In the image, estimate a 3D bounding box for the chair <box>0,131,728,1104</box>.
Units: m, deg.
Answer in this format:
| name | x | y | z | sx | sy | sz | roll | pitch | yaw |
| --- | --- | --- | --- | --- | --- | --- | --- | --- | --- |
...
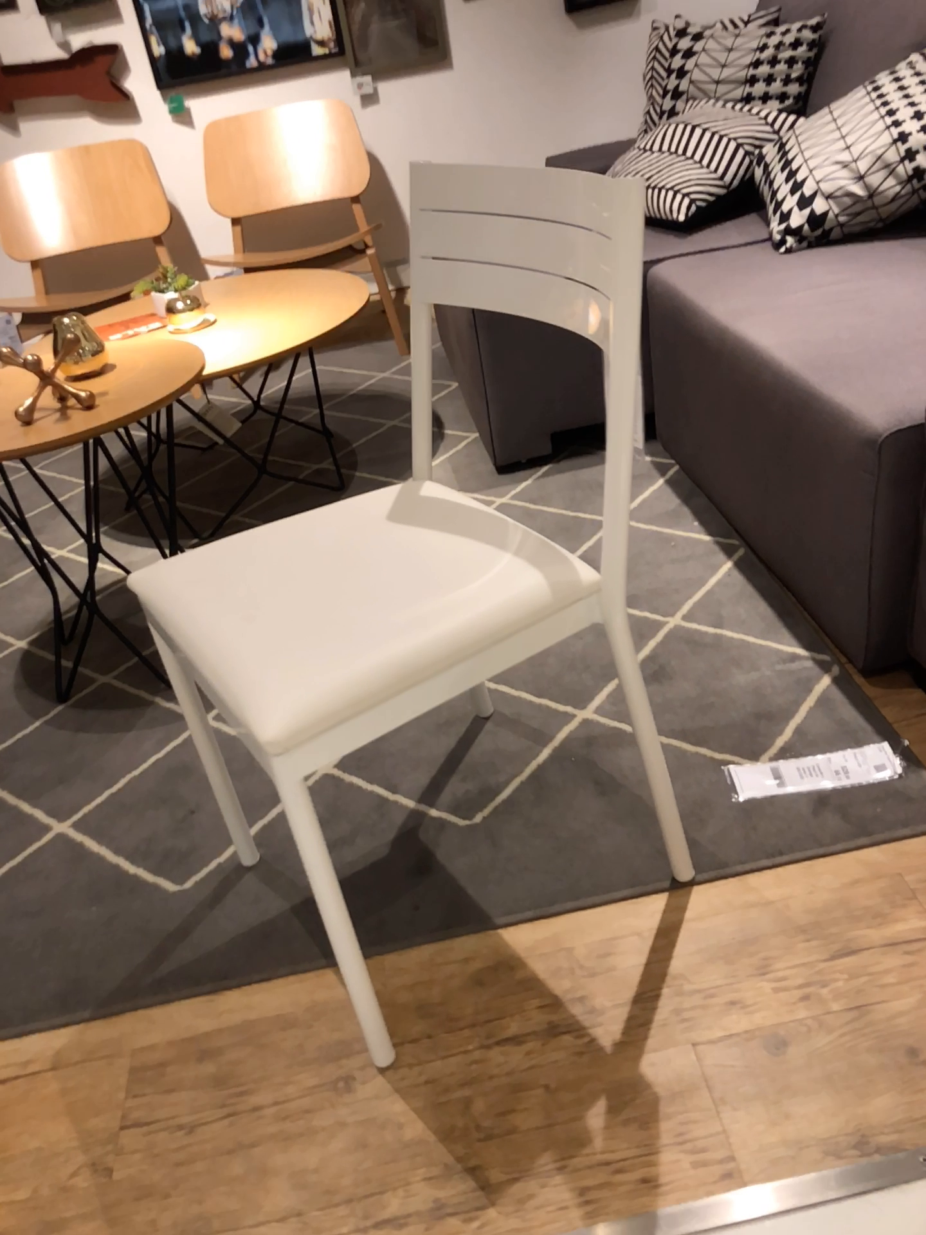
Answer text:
| name | x | y | z | sx | sy | sz | roll | pitch | yaw |
| --- | --- | --- | --- | --- | --- | --- | --- | --- | --- |
| chair | -0.073 | -0.032 | 1.051 | 0.471 | 0.774 | 0.452 | -26 | 34 | -23 |
